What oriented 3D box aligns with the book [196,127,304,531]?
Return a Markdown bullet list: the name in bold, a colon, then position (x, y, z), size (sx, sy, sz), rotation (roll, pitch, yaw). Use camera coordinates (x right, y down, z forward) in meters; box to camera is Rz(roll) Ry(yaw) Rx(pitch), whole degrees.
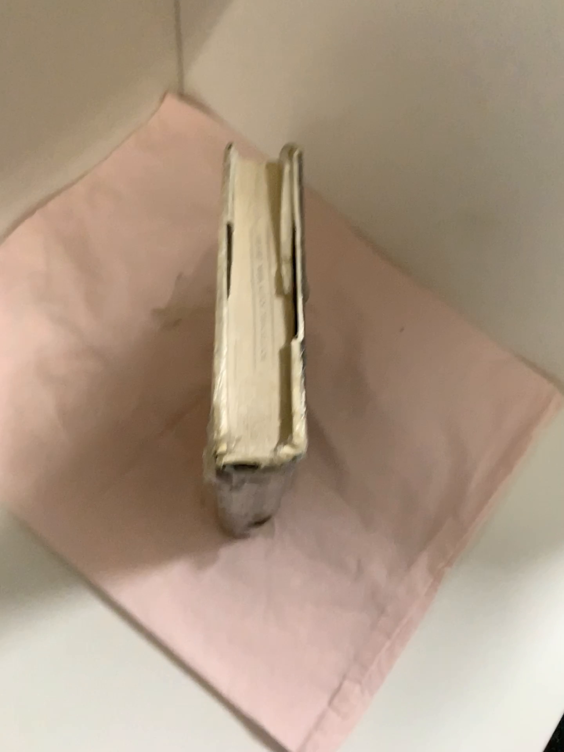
- **book**: position (-0.020, 0.000, 0.375), size (0.042, 0.248, 0.168), rotation (2, 69, -3)
